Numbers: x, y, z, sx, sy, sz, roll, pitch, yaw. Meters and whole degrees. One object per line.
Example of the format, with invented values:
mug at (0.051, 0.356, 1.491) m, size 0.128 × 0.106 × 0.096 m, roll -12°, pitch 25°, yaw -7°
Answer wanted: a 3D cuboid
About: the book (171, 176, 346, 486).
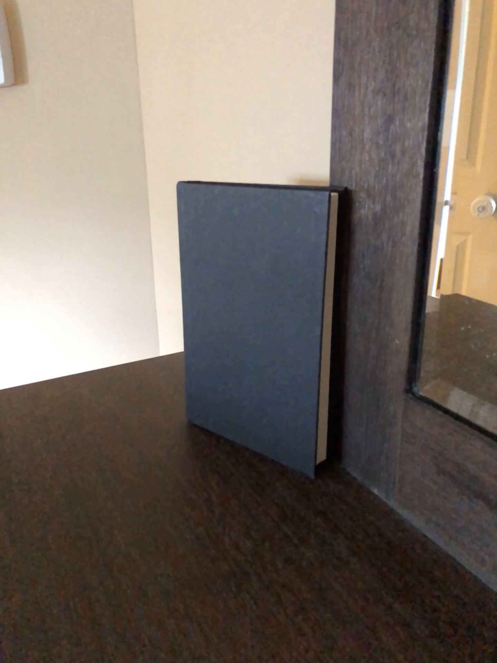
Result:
book at (0.003, -0.006, 0.450) m, size 0.150 × 0.229 × 0.028 m, roll 15°, pitch 25°, yaw 39°
